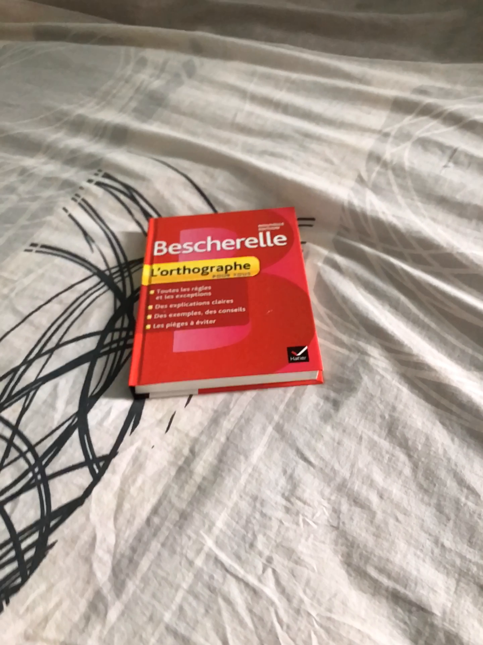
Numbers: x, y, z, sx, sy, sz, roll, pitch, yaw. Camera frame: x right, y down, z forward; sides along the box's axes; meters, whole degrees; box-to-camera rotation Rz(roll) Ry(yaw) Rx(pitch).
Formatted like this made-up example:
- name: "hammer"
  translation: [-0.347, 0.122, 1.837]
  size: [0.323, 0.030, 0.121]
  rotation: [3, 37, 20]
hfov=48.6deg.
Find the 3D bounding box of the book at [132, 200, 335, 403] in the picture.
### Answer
- name: "book"
  translation: [-0.010, -0.027, 0.445]
  size: [0.142, 0.023, 0.190]
  rotation: [-6, 49, 2]
